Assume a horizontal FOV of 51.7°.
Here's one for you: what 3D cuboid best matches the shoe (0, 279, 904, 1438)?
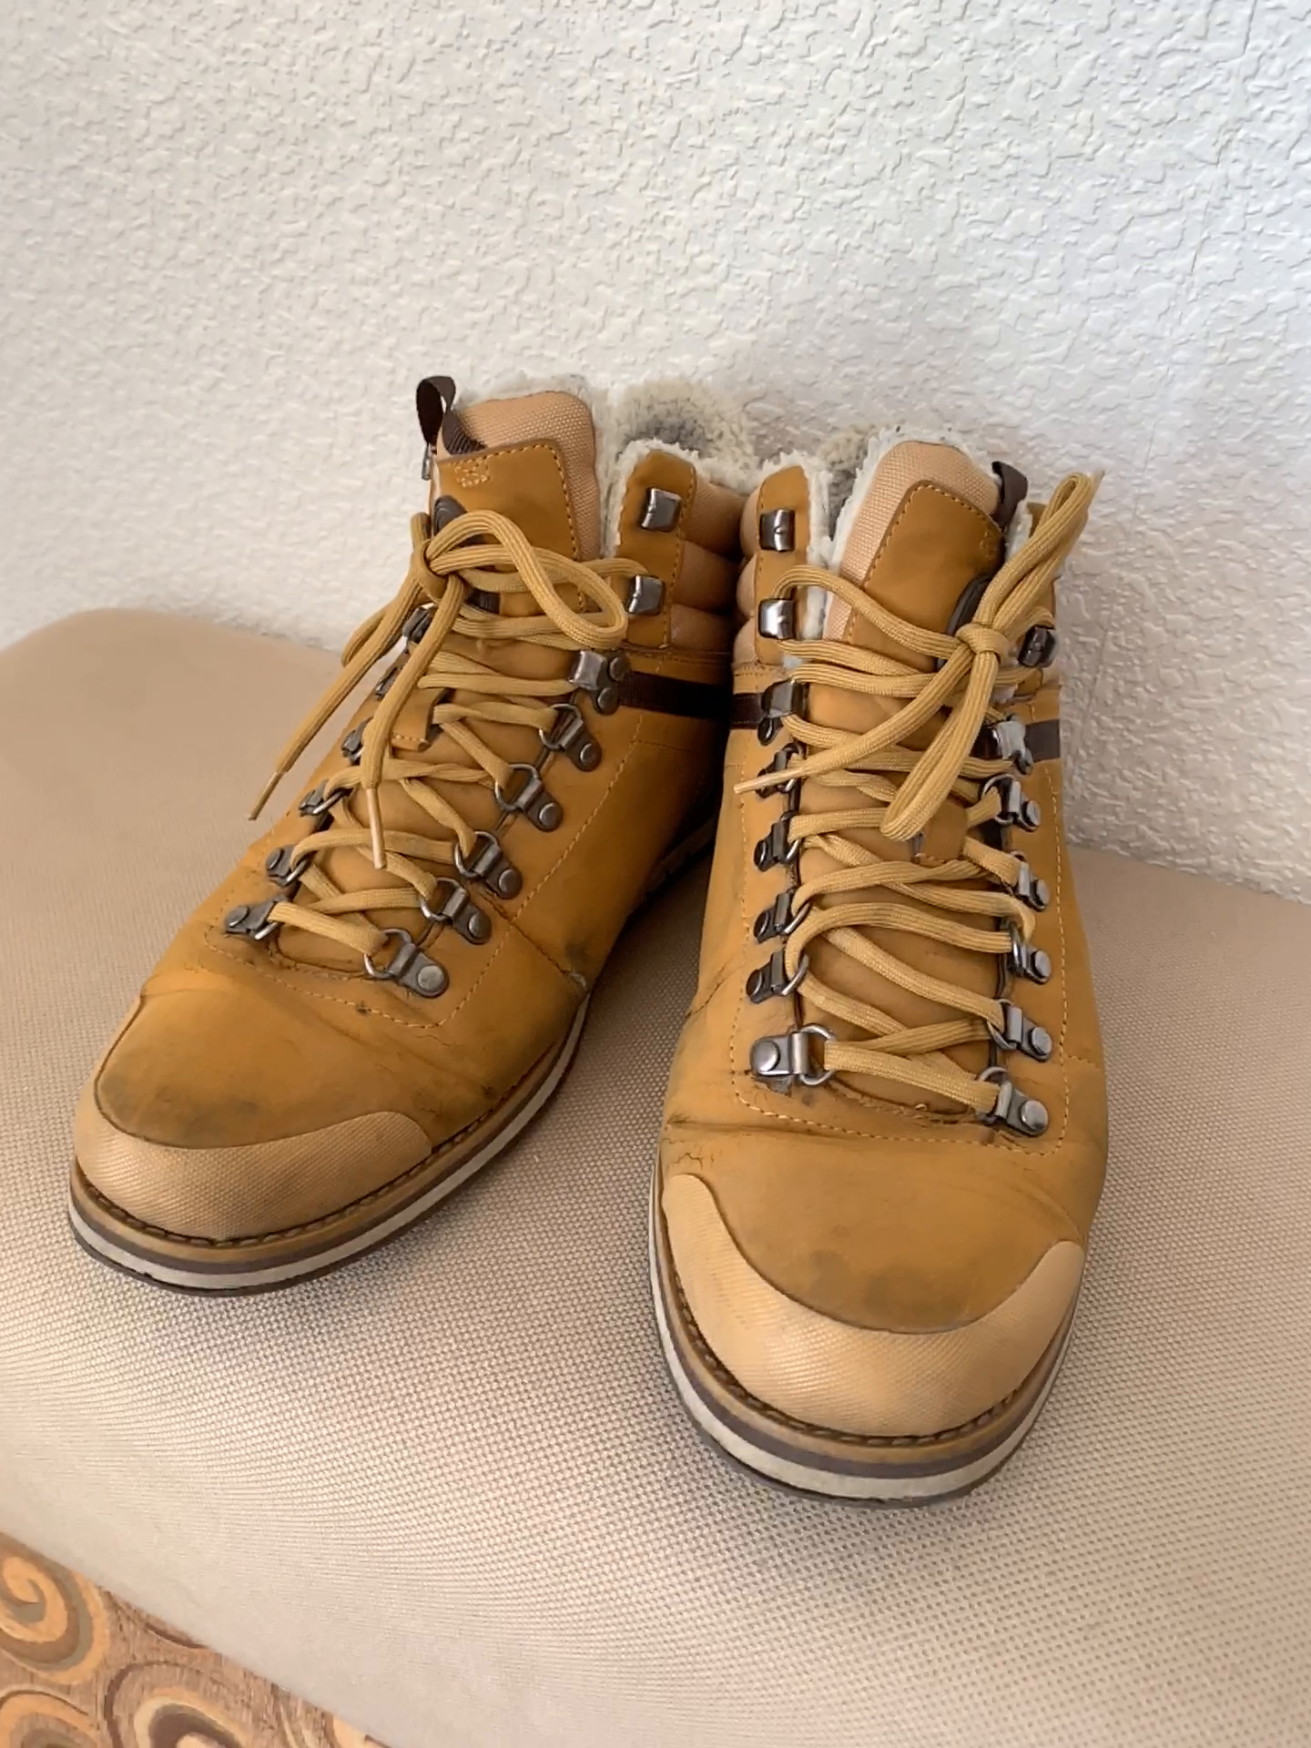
[{"bbox_3d":[-0.050,-0.038,0.369,0.120,0.149,0.301,19,42,21],"label":"shoe"}]

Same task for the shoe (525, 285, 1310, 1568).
[{"bbox_3d":[0.066,-0.021,0.343,0.120,0.149,0.301,6,41,7],"label":"shoe"}]
